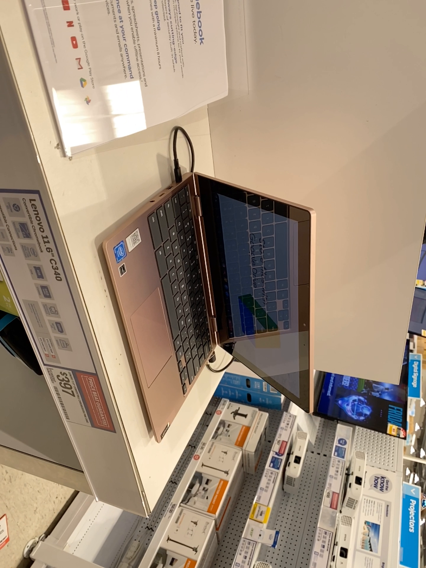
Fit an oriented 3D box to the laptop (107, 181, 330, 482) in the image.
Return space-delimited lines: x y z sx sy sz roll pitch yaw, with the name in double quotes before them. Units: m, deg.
"laptop" 0.032 0.046 0.522 0.196 0.168 0.280 -55 145 -50
